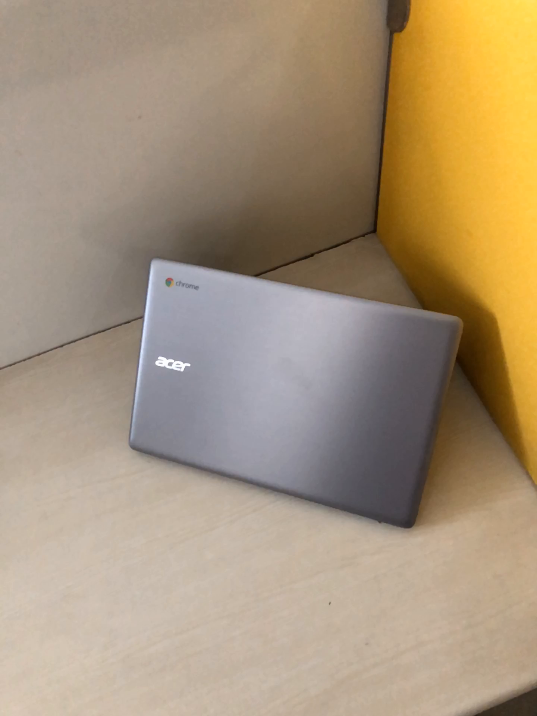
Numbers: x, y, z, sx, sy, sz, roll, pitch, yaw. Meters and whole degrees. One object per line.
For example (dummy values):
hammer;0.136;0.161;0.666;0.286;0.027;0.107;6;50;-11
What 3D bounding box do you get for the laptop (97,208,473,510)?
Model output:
laptop;0.026;-0.004;0.633;0.315;0.135;0.222;13;65;13
